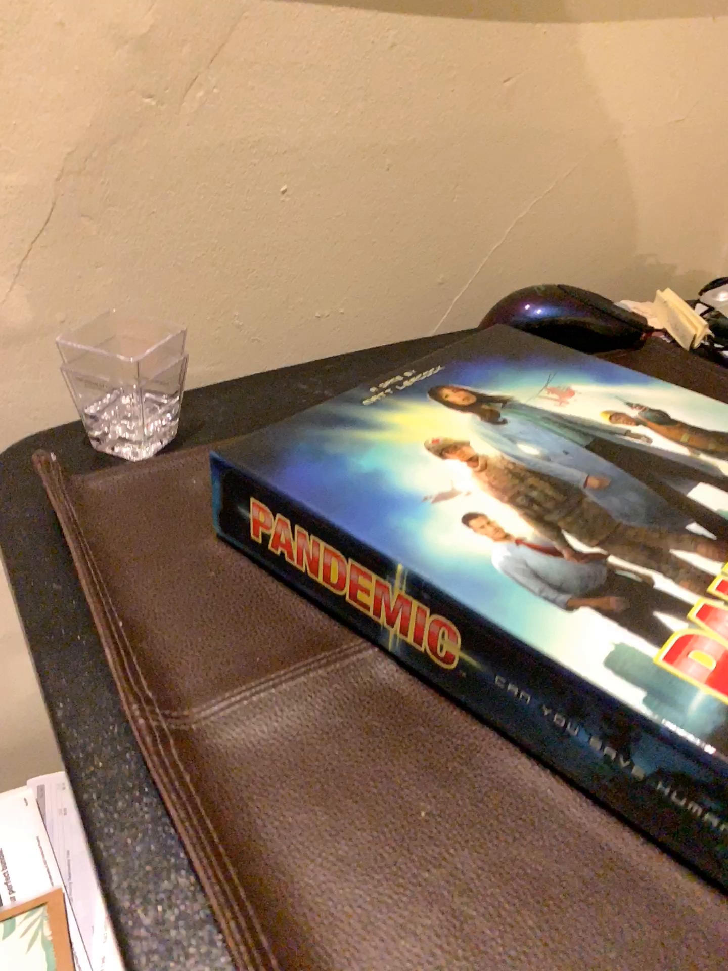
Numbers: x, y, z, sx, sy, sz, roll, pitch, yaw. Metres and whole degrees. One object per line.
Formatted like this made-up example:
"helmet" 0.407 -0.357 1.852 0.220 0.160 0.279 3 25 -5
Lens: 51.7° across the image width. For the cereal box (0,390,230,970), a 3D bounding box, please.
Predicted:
"cereal box" -0.511 0.470 0.890 0.510 0.994 0.473 8 35 8
